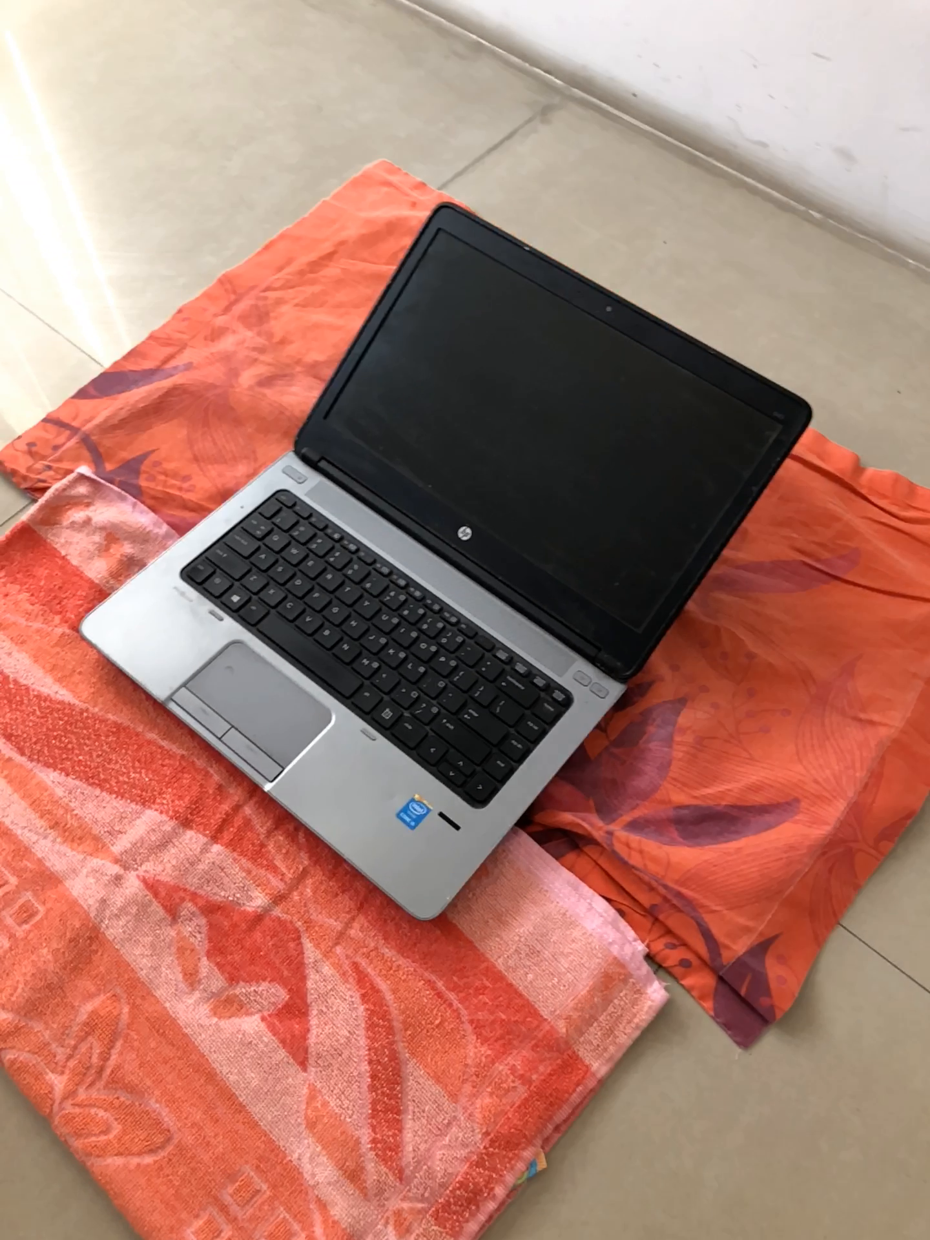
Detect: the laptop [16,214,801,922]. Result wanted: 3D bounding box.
[{"bbox_3d":[-0.022,-0.066,0.721,0.328,0.111,0.411,35,64,17],"label":"laptop"}]
